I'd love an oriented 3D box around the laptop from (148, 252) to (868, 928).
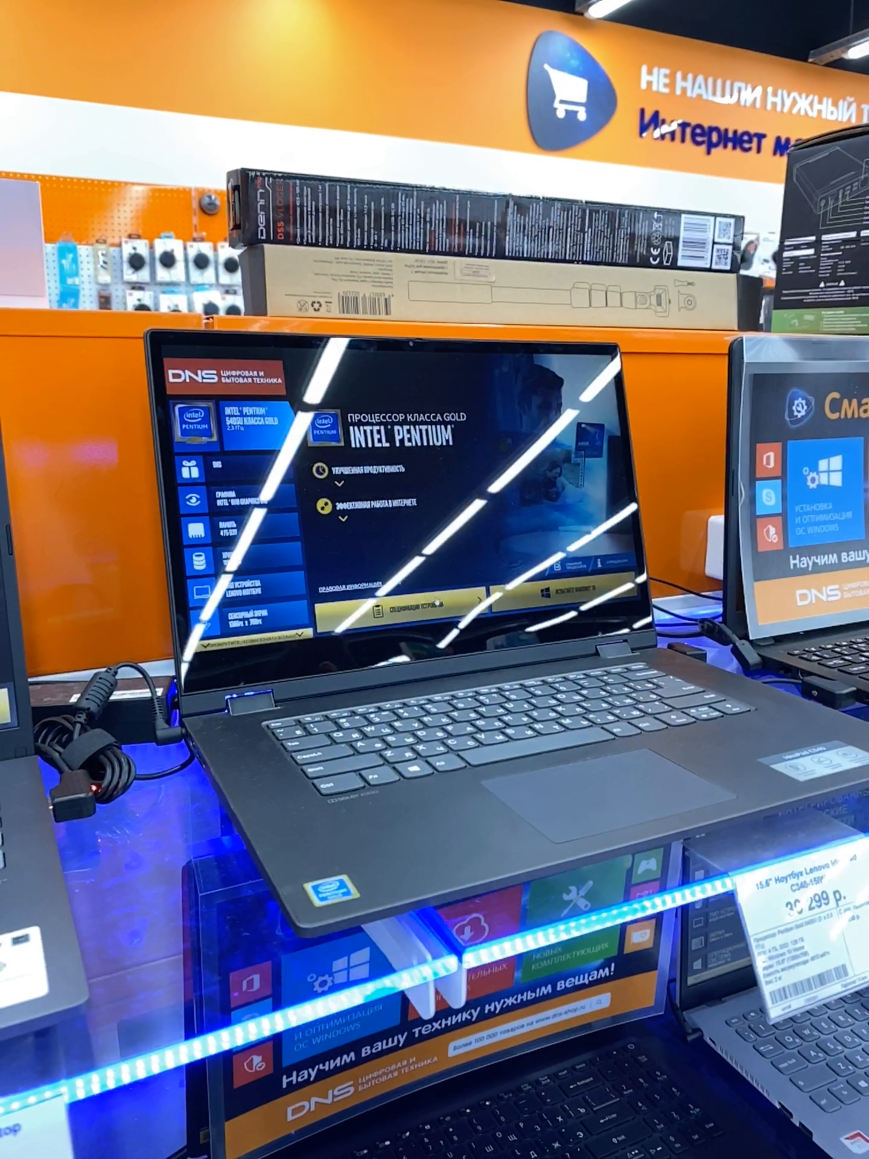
[{"bbox_3d":[0.051,-0.030,0.521,0.362,0.232,0.318,-5,12,-26],"label":"laptop"}]
